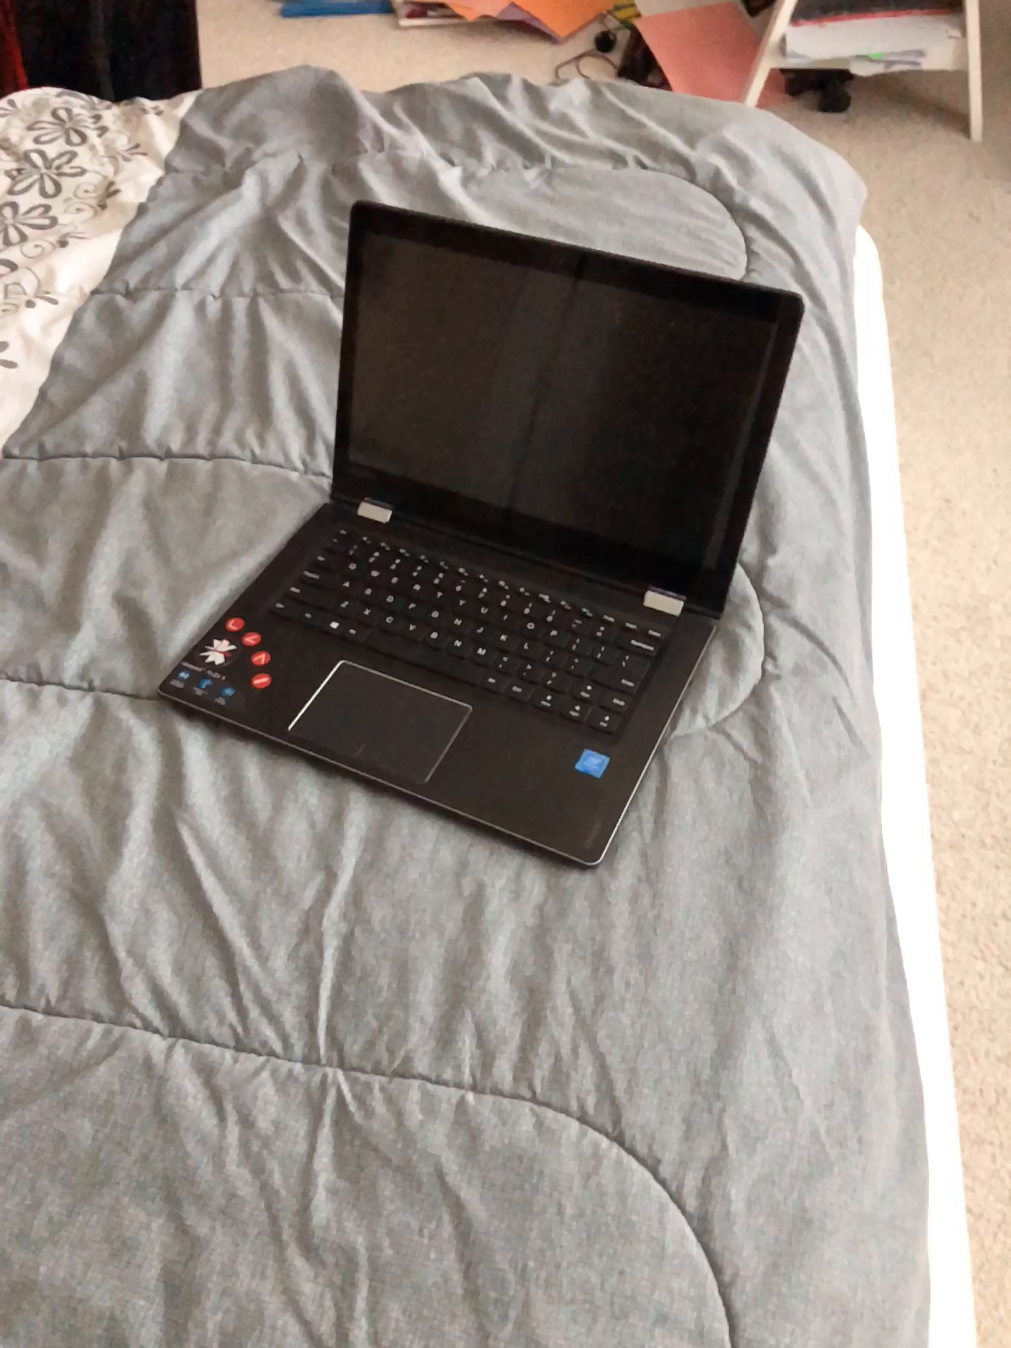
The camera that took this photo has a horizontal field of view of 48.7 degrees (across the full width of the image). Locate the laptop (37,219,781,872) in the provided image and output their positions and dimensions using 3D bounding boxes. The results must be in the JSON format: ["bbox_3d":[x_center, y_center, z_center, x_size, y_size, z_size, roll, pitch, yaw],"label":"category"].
[{"bbox_3d":[-0.041,-0.114,0.814,0.361,0.214,0.352,20,54,17],"label":"laptop"}]
